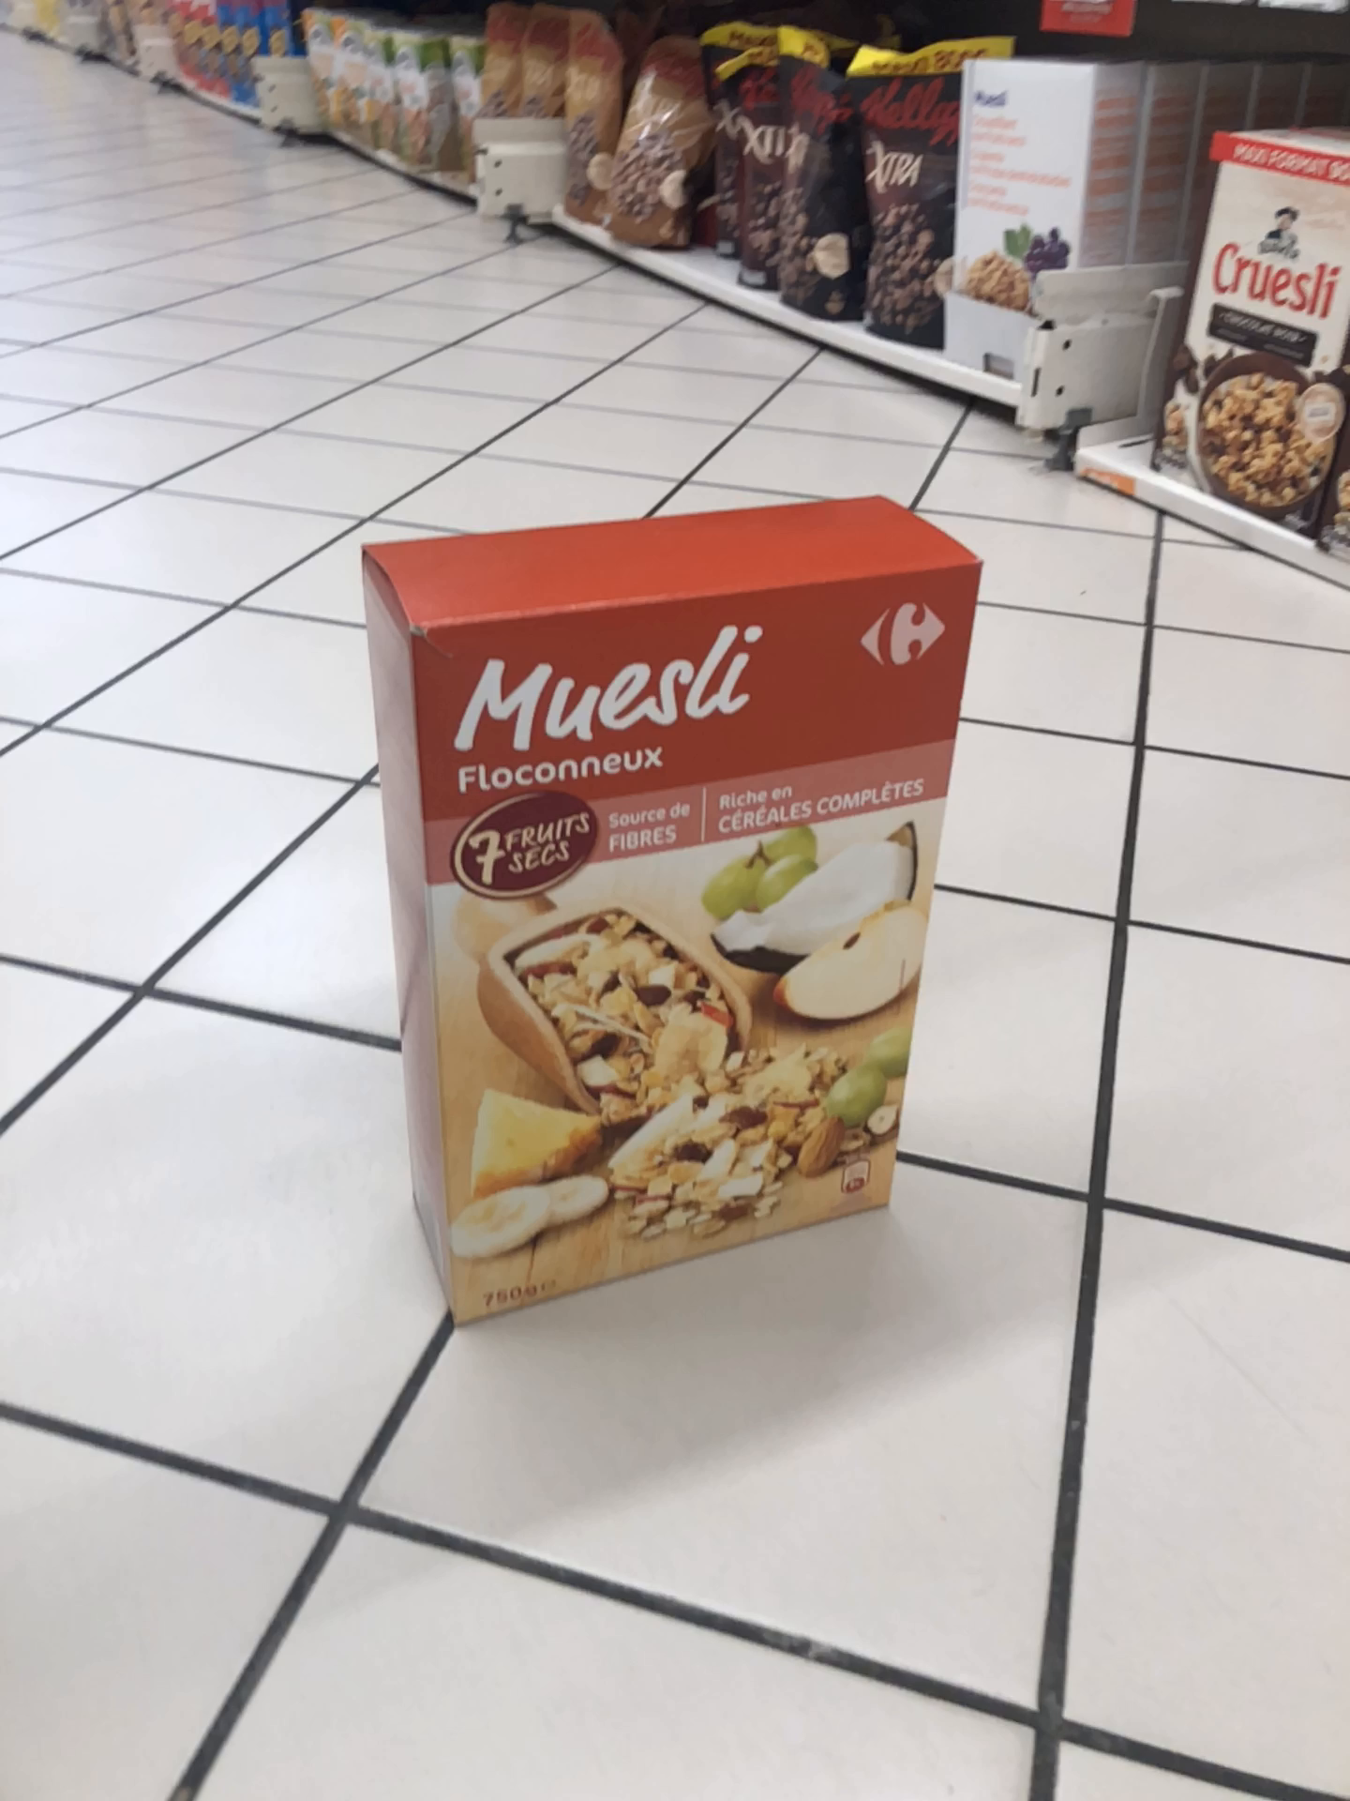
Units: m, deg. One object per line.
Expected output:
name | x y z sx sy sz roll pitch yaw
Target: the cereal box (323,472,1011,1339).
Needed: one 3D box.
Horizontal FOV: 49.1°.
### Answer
cereal box | -0.007 0.002 0.465 0.170 0.239 0.080 -10 33 -19
